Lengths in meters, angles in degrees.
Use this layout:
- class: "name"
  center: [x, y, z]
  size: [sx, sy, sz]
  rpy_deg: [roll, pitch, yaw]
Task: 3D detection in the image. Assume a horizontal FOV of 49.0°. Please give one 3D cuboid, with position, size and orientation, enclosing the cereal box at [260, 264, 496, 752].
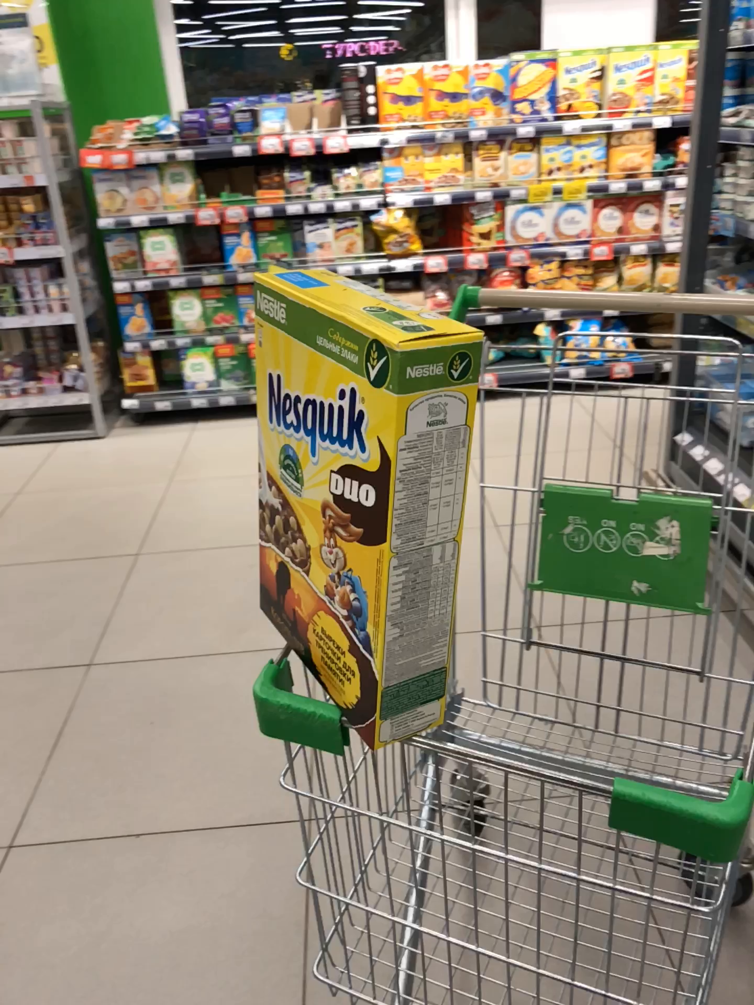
- class: "cereal box"
  center: [-0.015, -0.006, 0.581]
  size: [0.060, 0.278, 0.201]
  rpy_deg: [-11, 28, -27]
